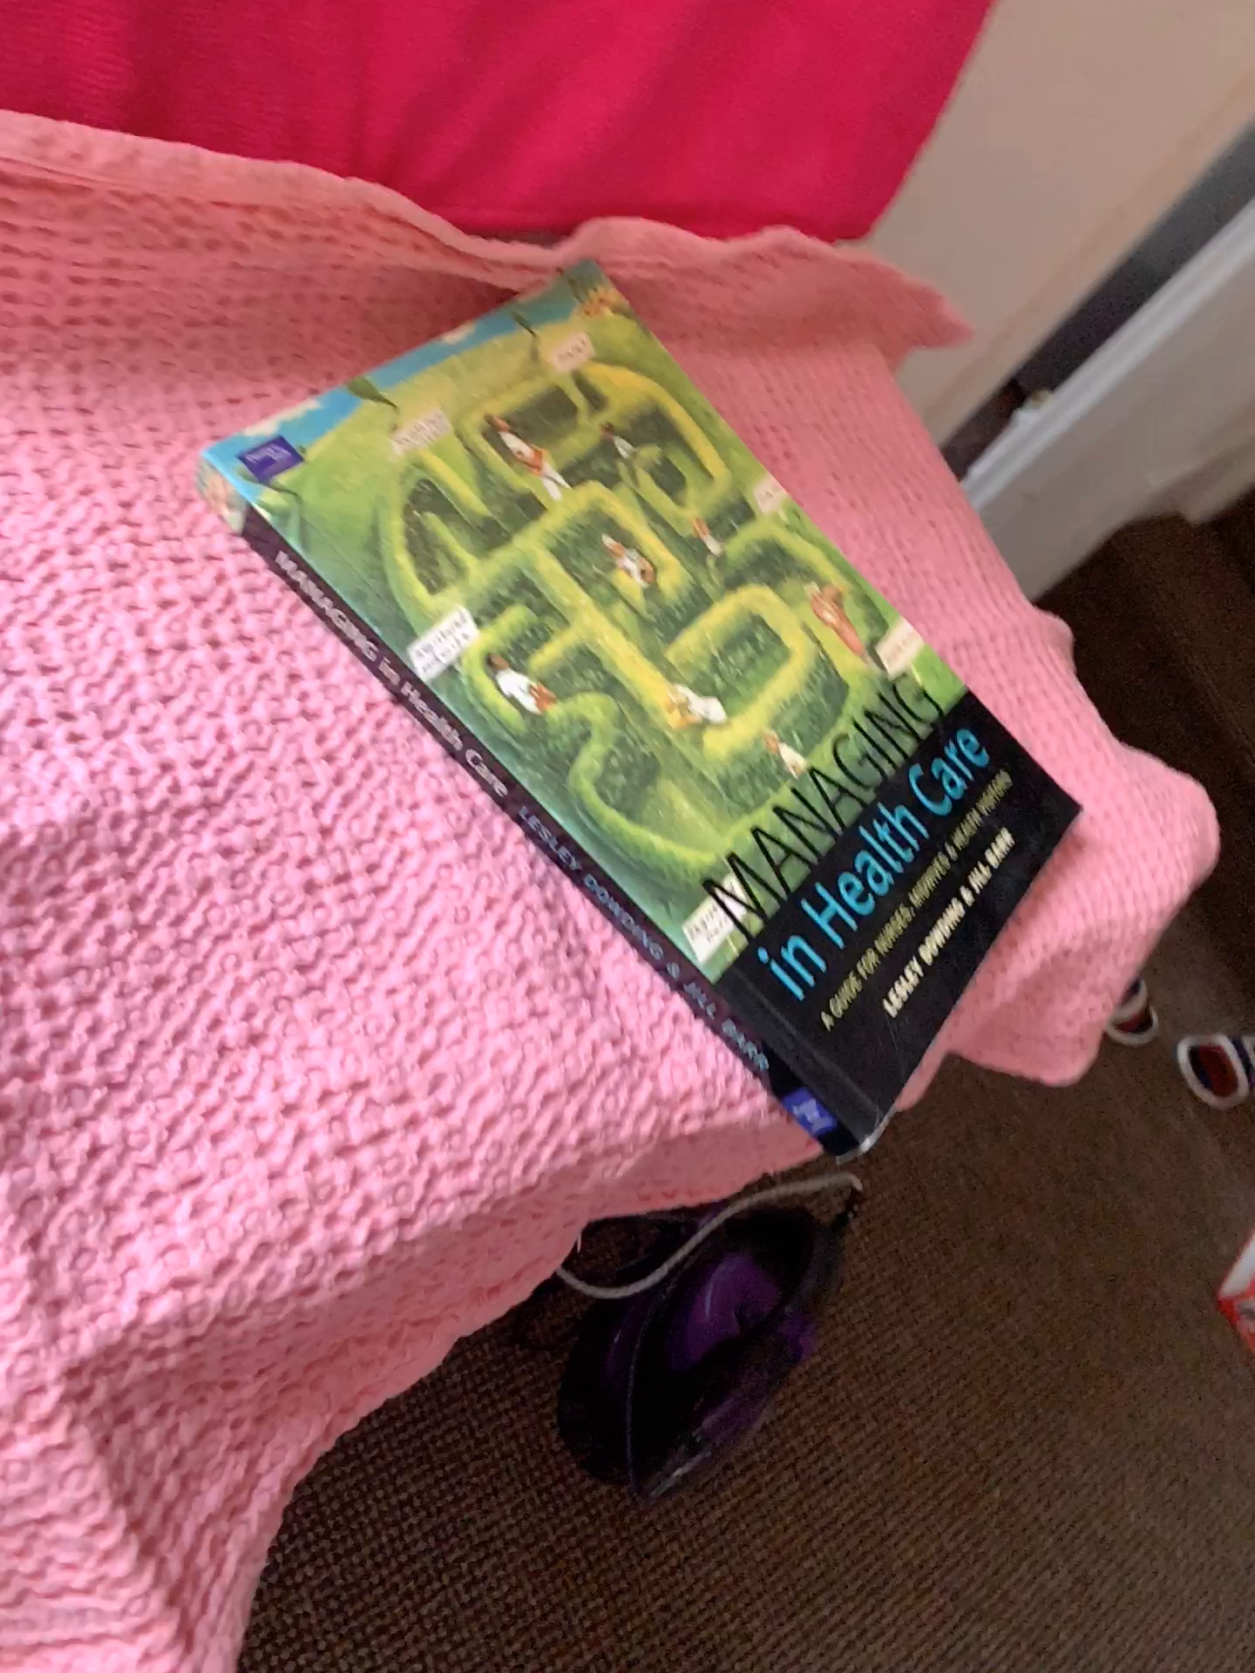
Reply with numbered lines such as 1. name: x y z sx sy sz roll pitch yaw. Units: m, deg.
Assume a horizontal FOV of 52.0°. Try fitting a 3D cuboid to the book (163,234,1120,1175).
1. book: 0.022 -0.054 0.361 0.240 0.020 0.171 46 50 0
